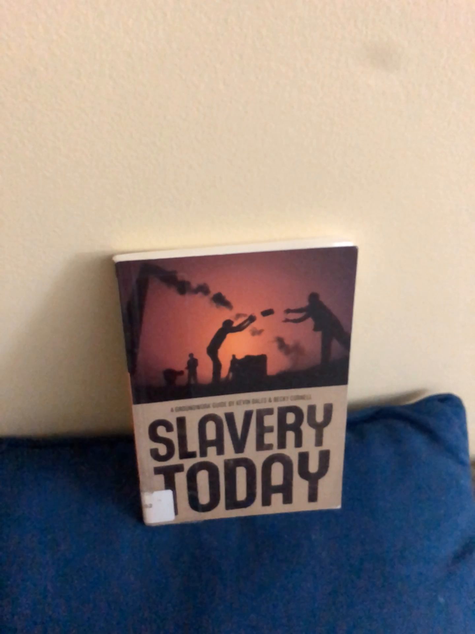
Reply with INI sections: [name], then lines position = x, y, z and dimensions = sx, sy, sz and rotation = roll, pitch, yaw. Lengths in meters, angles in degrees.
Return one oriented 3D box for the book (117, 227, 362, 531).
[book]
position = 0.002, 0.041, 0.321
dimensions = 0.127, 0.182, 0.028
rotation = -3, 22, -6
